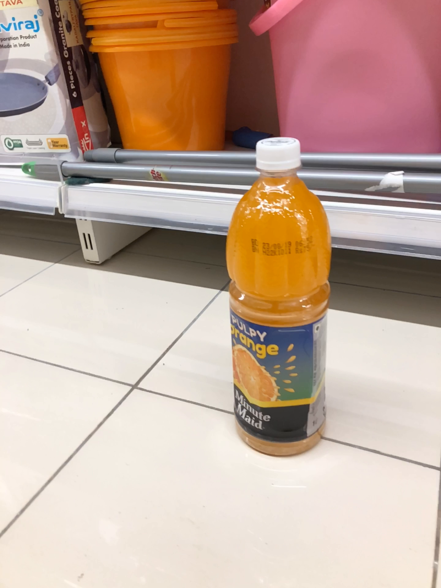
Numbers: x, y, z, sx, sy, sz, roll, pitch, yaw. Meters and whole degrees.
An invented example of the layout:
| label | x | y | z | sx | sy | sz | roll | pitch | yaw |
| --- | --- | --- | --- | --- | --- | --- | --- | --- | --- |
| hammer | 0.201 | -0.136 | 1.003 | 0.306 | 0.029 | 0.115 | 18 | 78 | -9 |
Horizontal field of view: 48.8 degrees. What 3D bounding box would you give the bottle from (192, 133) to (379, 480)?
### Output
| label | x | y | z | sx | sy | sz | roll | pitch | yaw |
| --- | --- | --- | --- | --- | --- | --- | --- | --- | --- |
| bottle | 0.052 | 0.010 | 0.389 | 0.090 | 0.246 | 0.090 | -3 | 28 | 2 |
